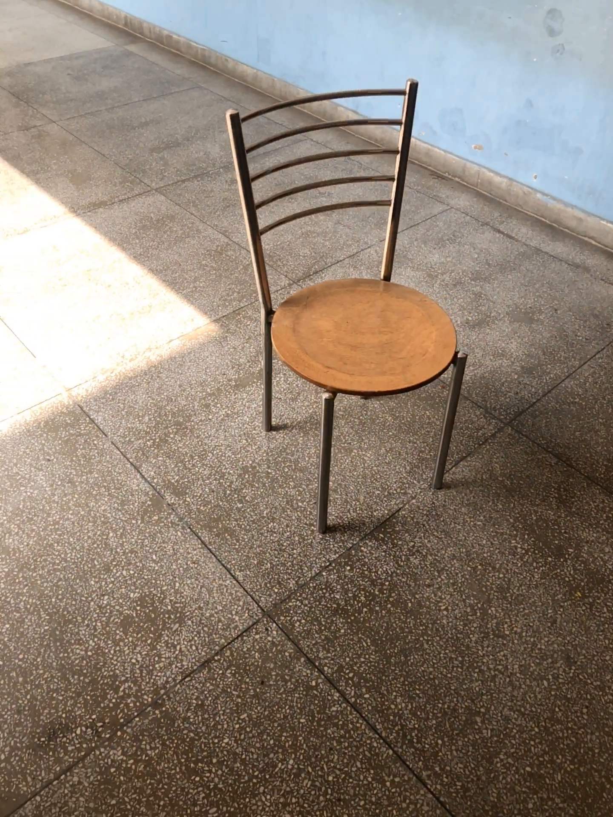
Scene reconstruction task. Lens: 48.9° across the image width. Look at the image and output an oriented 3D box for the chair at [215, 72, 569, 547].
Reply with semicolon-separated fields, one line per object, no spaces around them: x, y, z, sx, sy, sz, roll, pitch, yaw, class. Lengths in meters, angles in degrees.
0.113;-0.181;1.373;0.420;0.777;0.421;-18;47;-21;chair
